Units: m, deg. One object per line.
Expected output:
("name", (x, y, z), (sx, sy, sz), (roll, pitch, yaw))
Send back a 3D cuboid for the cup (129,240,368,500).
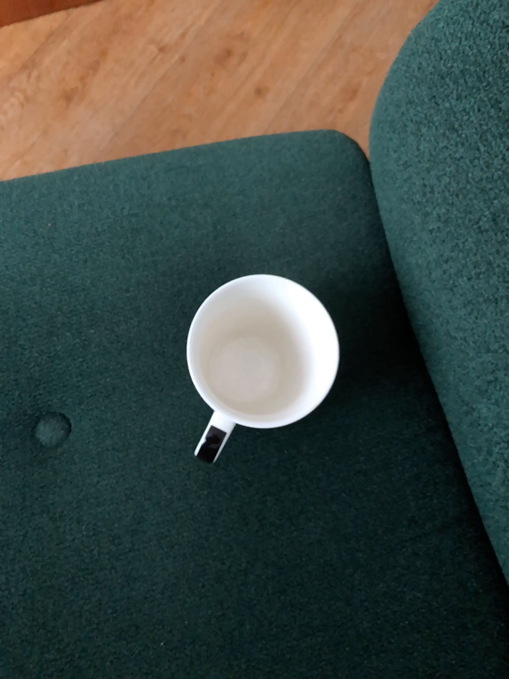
("cup", (-0.005, 0.024, 0.368), (0.095, 0.095, 0.120), (25, 76, 1))
